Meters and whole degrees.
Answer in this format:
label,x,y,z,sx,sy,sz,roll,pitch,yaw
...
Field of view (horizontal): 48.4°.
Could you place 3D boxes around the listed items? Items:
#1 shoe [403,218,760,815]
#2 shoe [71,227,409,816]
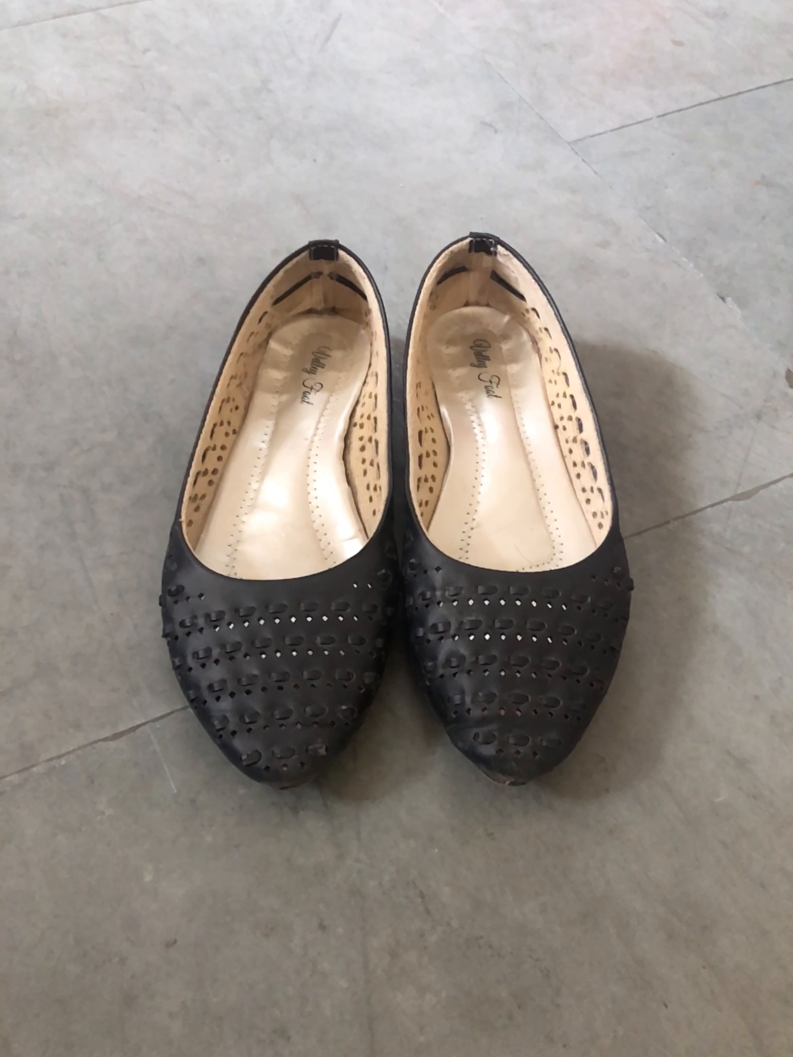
label,x,y,z,sx,sy,sz,roll,pitch,yaw
shoe,0.055,-0.019,0.356,0.095,0.073,0.242,-2,55,-1
shoe,-0.044,-0.018,0.350,0.095,0.062,0.242,1,55,1
